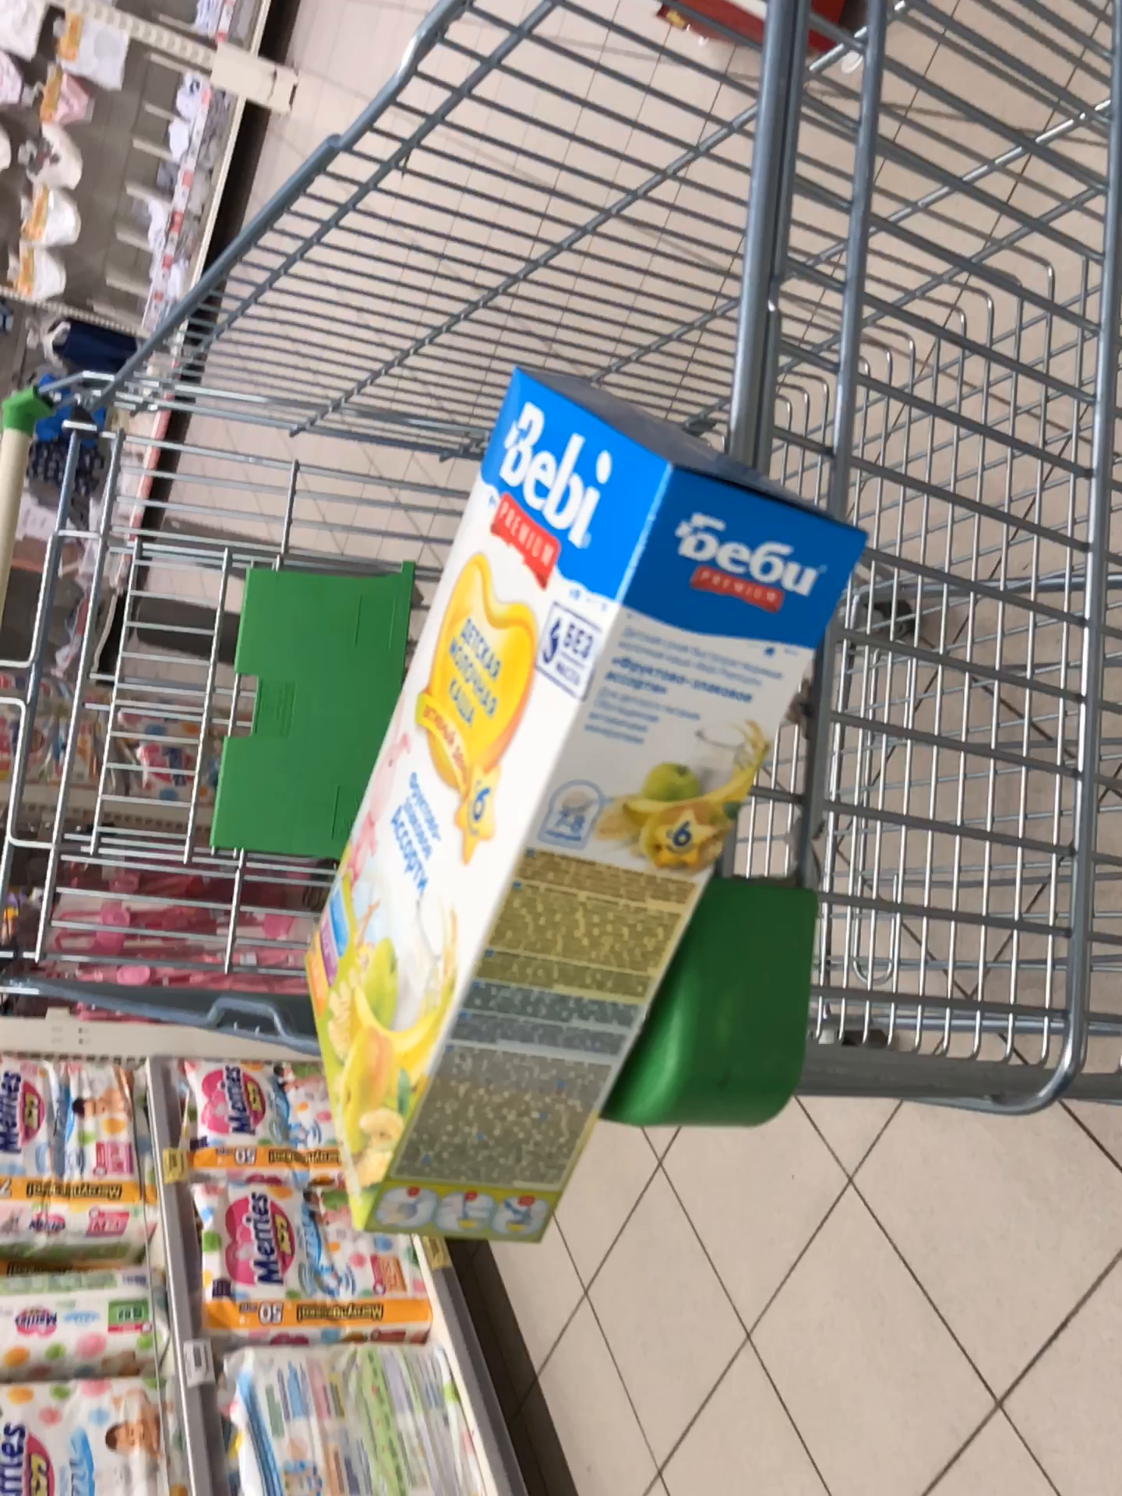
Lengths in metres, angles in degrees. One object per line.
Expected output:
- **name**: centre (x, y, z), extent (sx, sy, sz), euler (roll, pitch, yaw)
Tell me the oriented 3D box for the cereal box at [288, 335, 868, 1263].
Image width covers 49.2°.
- **cereal box**: centre (-0.016, 0.006, 0.345), extent (0.210, 0.050, 0.151), euler (-68, 24, 18)
